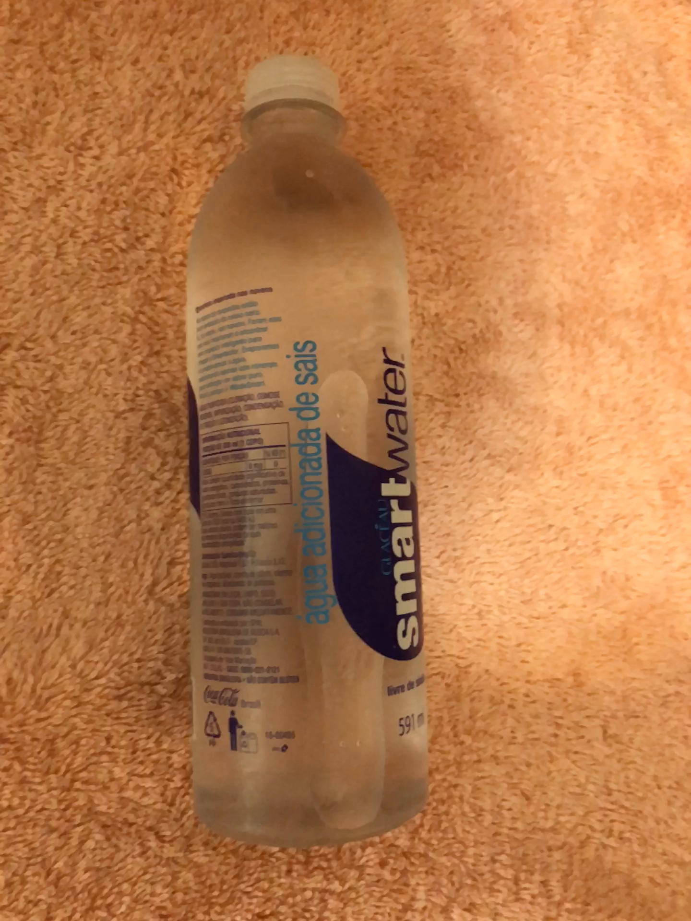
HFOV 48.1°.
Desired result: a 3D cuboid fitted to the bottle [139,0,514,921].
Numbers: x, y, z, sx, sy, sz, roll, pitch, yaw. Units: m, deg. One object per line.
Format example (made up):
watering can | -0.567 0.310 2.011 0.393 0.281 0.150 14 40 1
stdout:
bottle | -0.007 -0.007 0.209 0.080 0.050 0.230 0 87 -29
